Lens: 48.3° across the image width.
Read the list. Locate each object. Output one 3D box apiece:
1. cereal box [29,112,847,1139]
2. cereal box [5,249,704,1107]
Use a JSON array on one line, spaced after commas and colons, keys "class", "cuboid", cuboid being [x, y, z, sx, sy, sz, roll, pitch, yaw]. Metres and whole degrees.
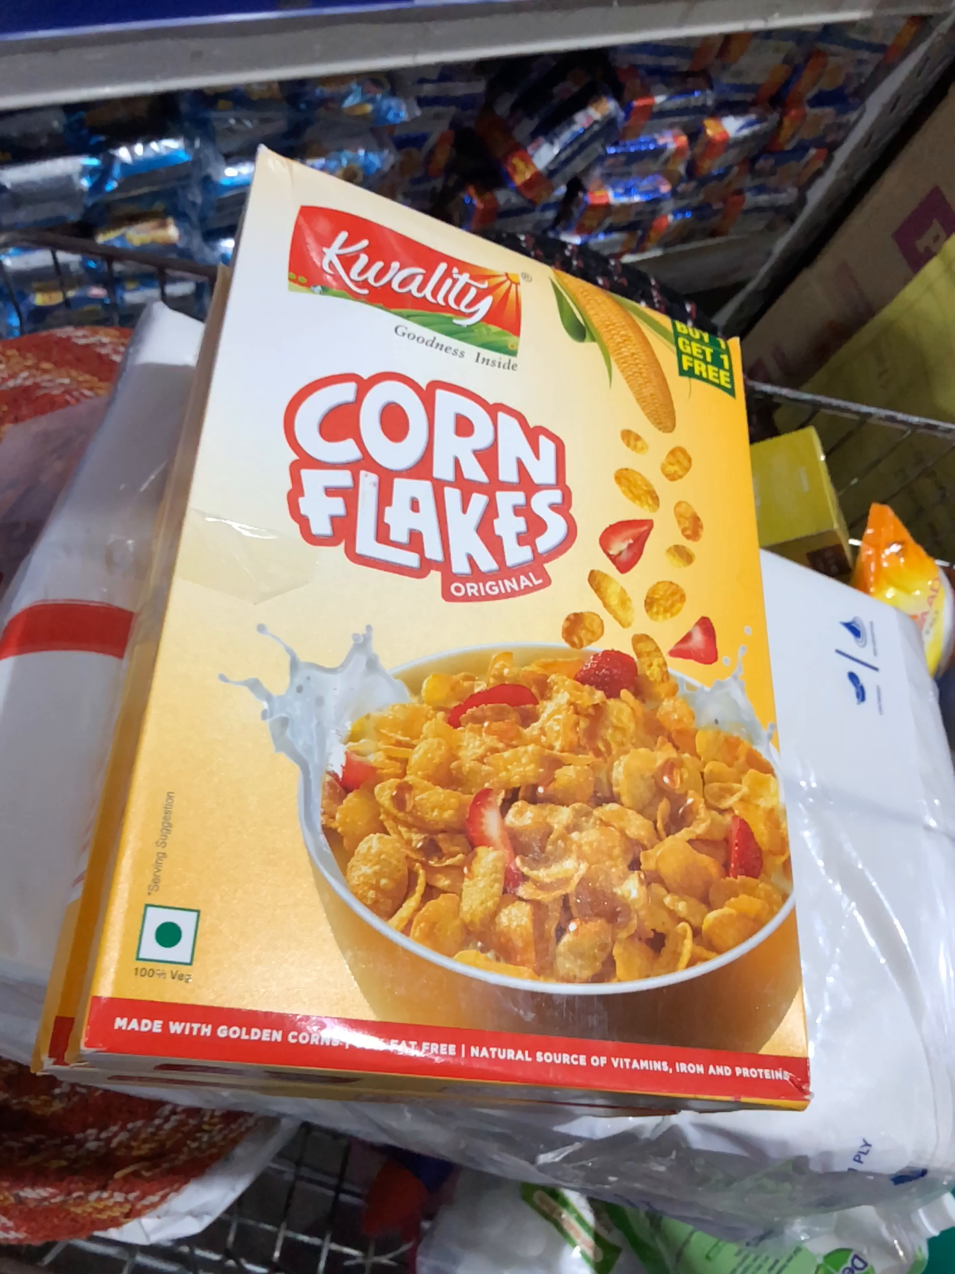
[{"class": "cereal box", "cuboid": [0.000, -0.002, 0.311, 0.190, 0.060, 0.261, 13, 64, -21]}, {"class": "cereal box", "cuboid": [-0.029, 0.019, 0.377, 0.200, 0.070, 0.261, 13, 64, -21]}]
